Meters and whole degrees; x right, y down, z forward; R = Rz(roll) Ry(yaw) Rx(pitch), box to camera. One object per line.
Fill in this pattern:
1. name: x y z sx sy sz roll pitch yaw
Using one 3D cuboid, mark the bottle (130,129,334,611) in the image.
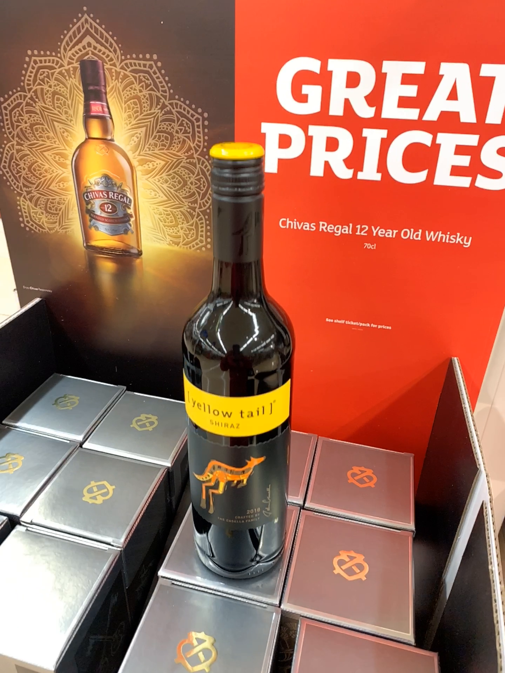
1. bottle: -0.008 0.038 0.335 0.086 0.307 0.082 1 30 -1
